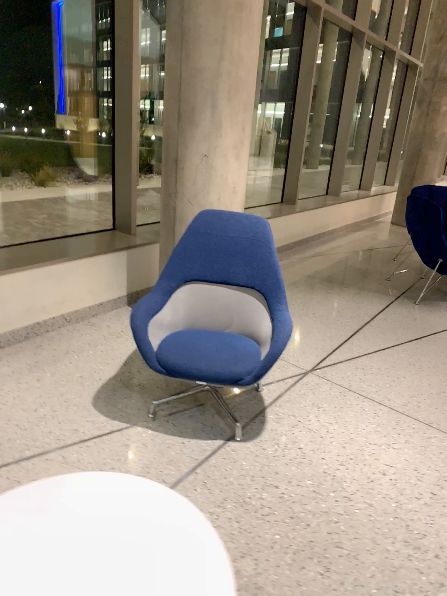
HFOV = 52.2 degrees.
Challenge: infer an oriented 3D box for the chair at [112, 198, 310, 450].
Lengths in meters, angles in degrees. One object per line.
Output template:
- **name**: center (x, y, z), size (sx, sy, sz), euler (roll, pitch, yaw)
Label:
- **chair**: center (-0.050, 0.080, 2.320), size (0.814, 0.998, 0.635), euler (8, 20, 9)
